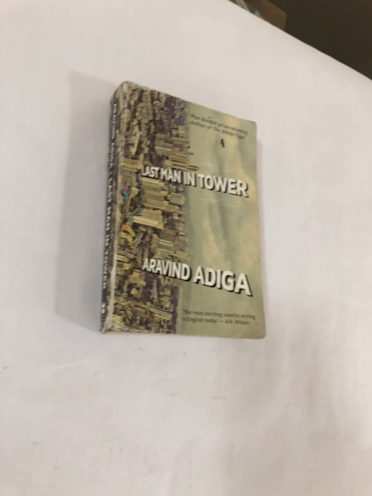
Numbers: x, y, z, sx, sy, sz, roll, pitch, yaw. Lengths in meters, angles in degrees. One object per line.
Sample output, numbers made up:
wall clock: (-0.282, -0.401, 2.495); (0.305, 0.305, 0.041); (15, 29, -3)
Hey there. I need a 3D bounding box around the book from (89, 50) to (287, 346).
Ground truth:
book: (0.005, -0.035, 0.340); (0.150, 0.030, 0.220); (8, 72, -27)
